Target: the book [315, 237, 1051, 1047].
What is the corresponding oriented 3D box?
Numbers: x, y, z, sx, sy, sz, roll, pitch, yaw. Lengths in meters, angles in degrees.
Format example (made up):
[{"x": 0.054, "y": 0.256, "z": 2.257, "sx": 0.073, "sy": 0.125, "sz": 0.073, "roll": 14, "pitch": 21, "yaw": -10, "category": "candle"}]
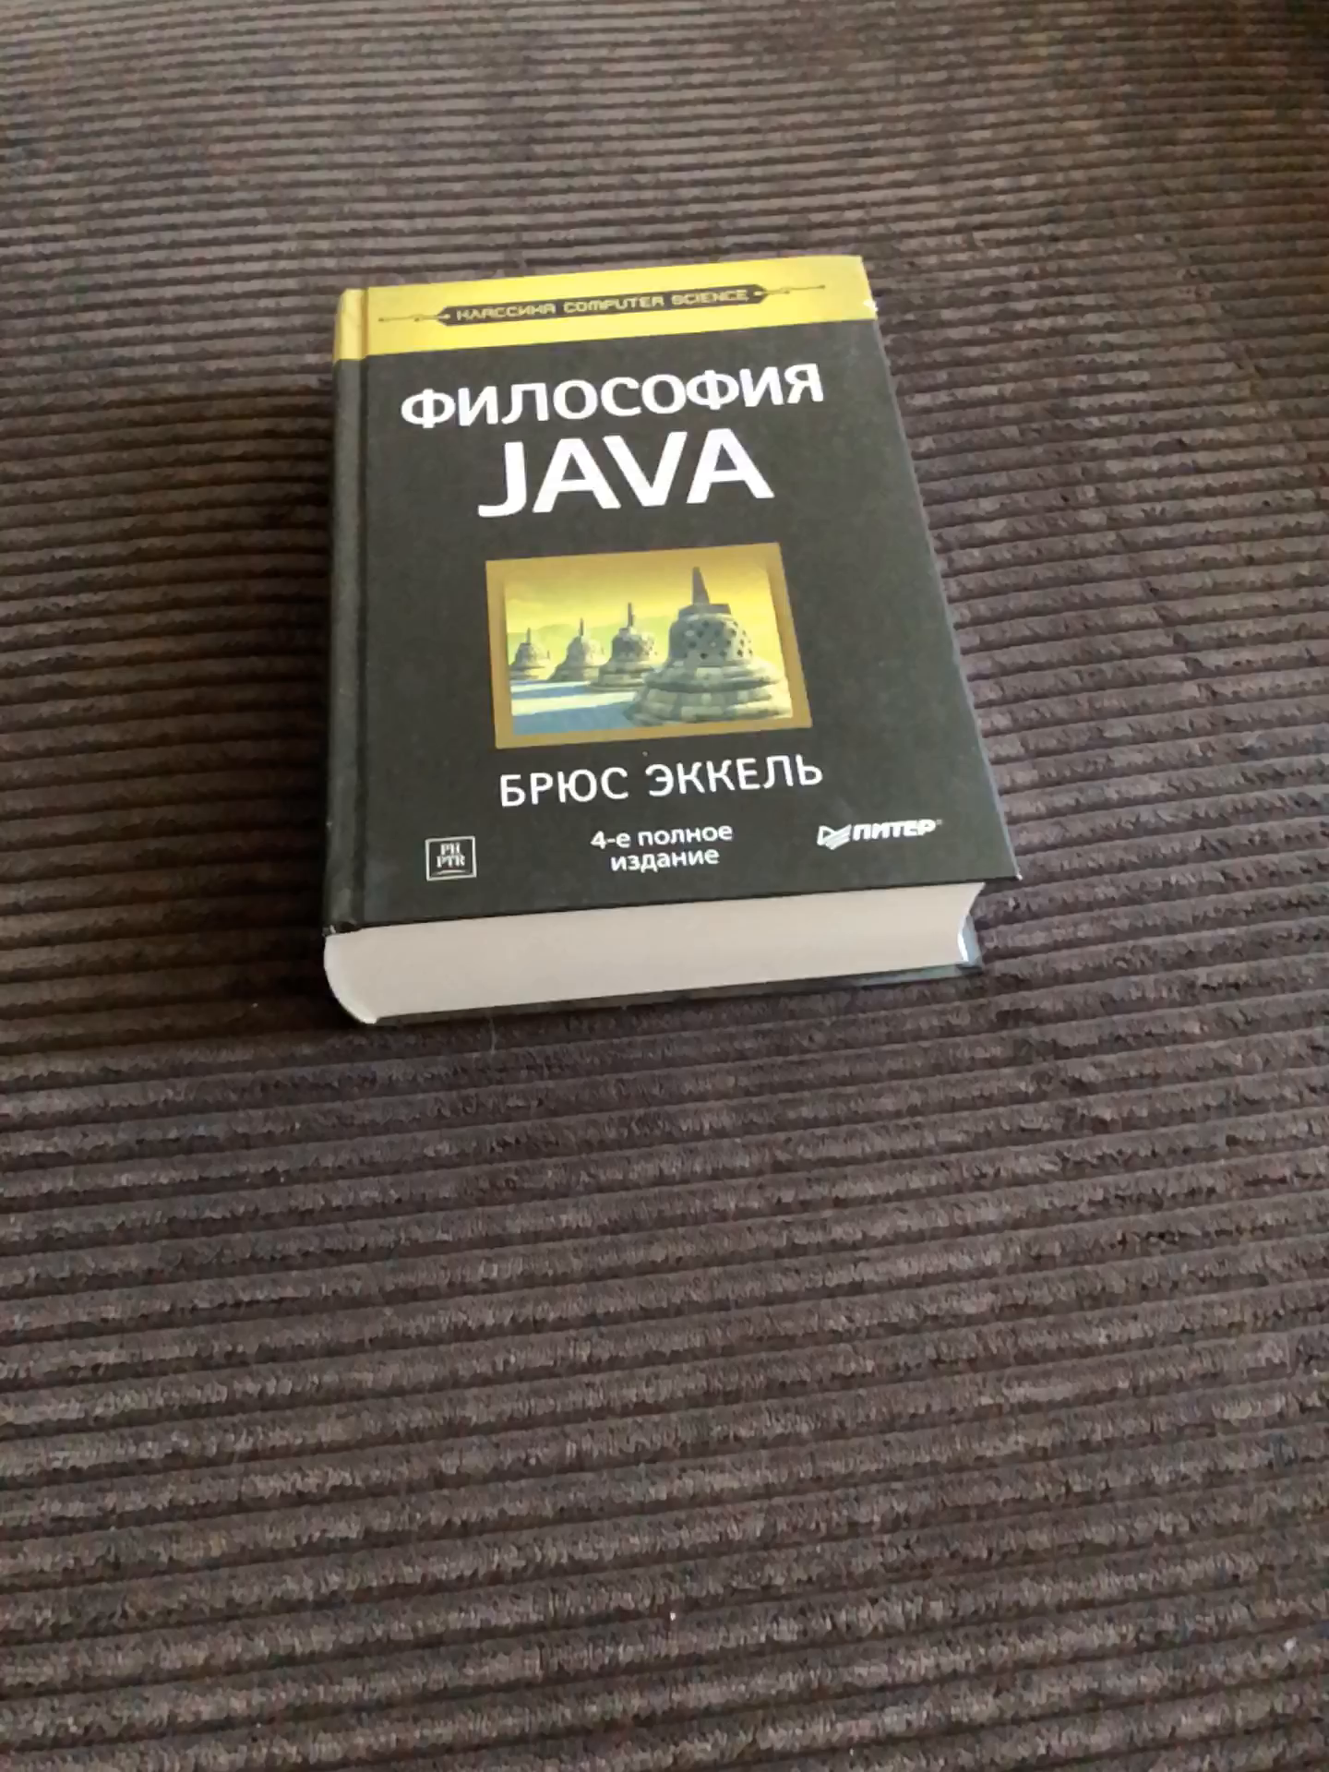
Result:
[{"x": -0.007, "y": -0.082, "z": 0.425, "sx": 0.171, "sy": 0.060, "sz": 0.240, "roll": -5, "pitch": 59, "yaw": -4, "category": "book"}]
